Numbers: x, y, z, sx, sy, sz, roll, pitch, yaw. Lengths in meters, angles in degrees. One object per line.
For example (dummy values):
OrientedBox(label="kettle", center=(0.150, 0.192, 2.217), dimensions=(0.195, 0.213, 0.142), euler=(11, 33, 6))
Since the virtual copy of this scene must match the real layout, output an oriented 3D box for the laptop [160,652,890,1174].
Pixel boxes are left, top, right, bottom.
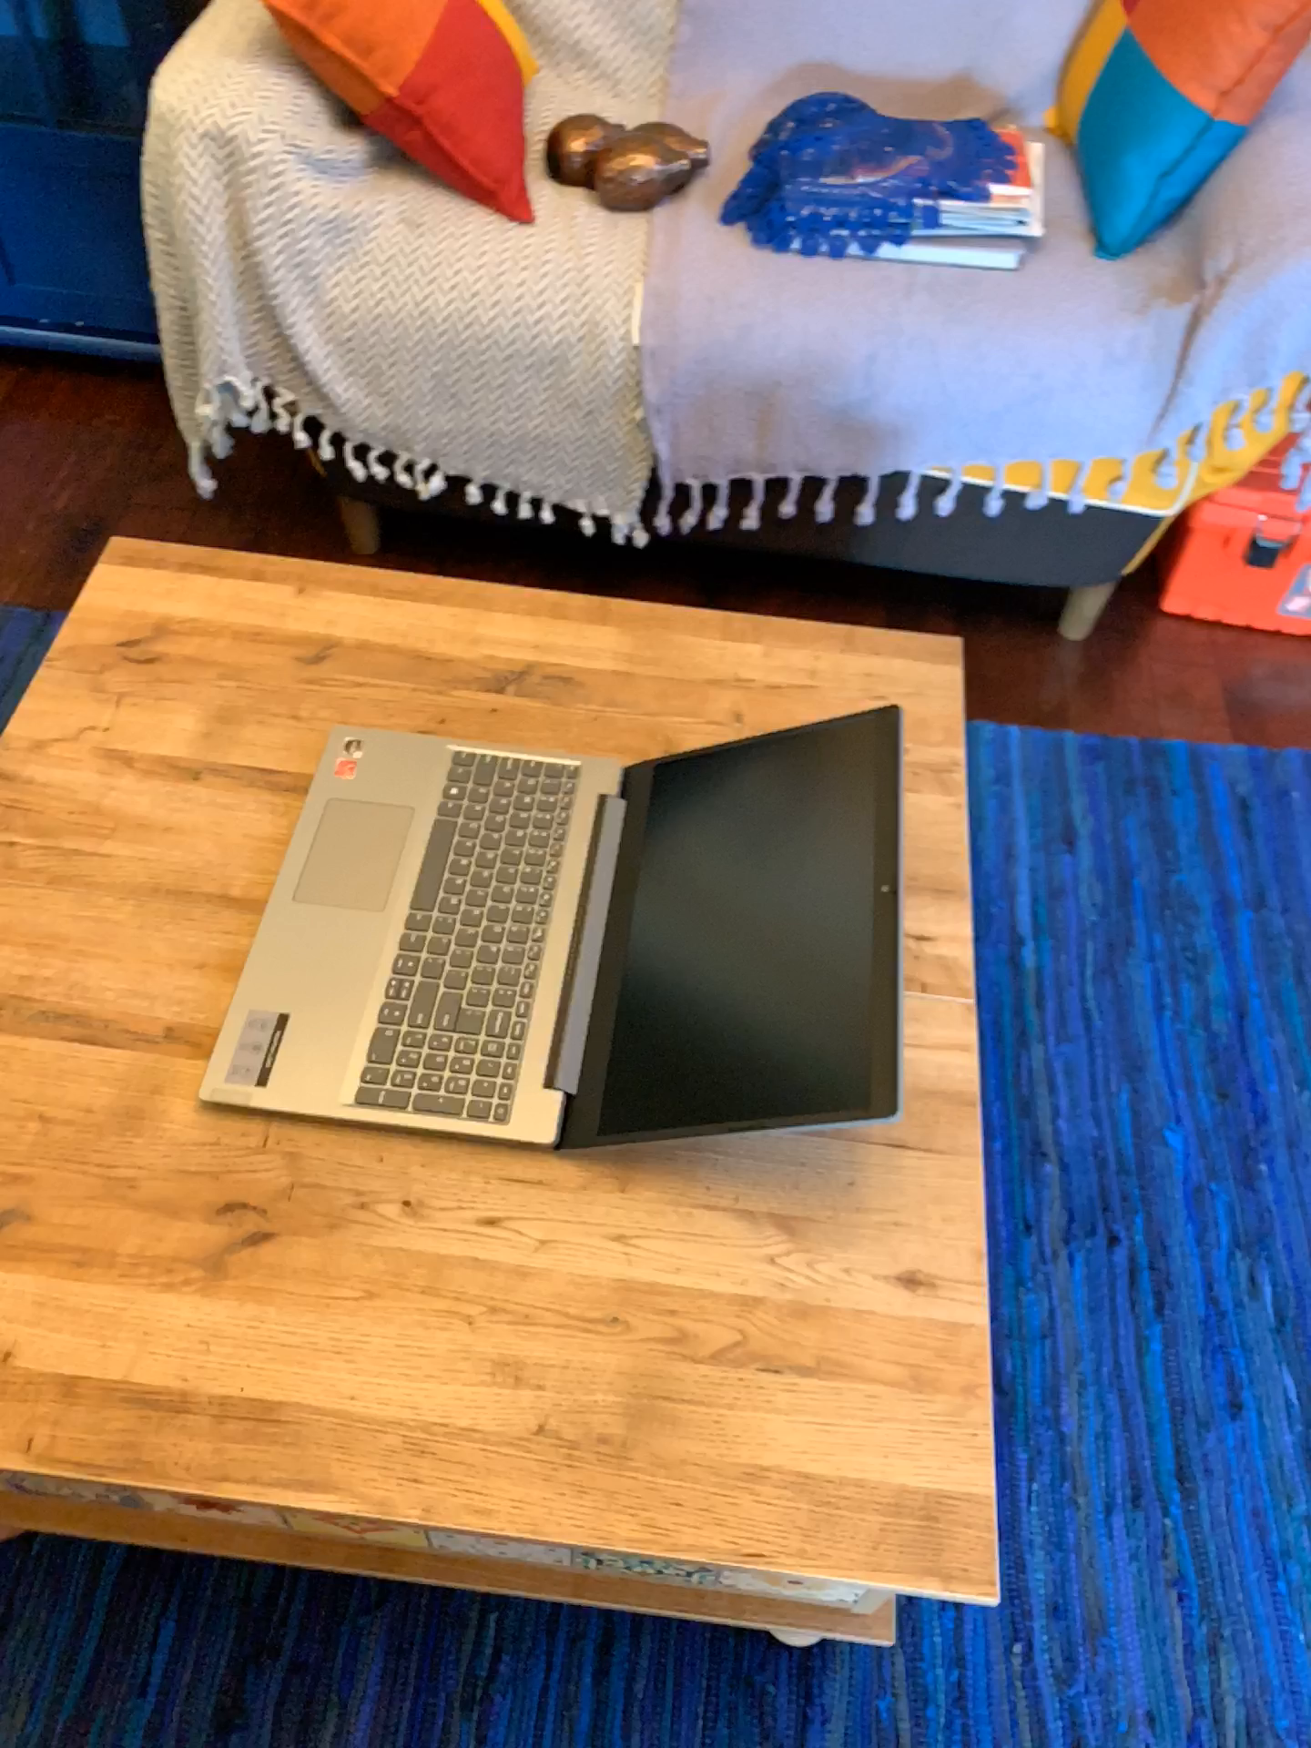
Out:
OrientedBox(label="laptop", center=(-0.071, 0.012, 0.988), dimensions=(0.460, 0.099, 0.347), euler=(6, 52, 4))
